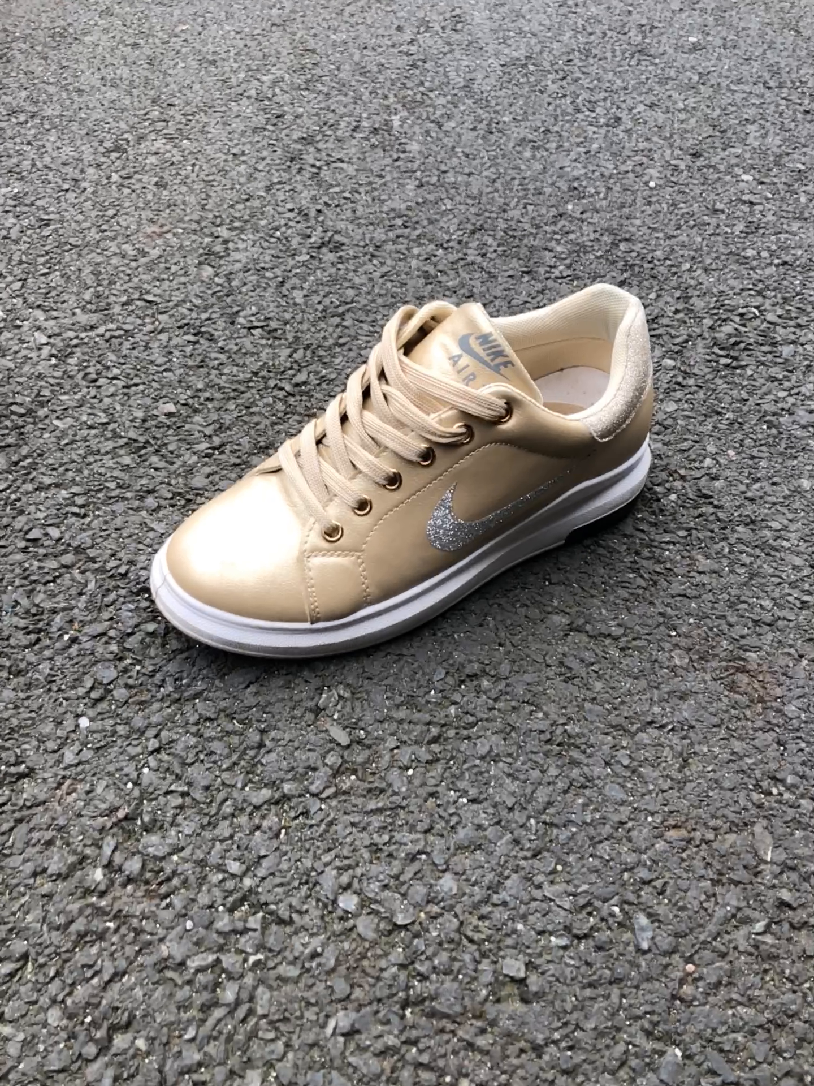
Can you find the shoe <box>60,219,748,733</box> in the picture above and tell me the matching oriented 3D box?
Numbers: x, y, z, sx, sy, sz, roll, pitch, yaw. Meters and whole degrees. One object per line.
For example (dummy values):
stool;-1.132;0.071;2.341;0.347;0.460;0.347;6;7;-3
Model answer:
shoe;0.003;-0.042;0.406;0.261;0.099;0.117;-23;54;-21
